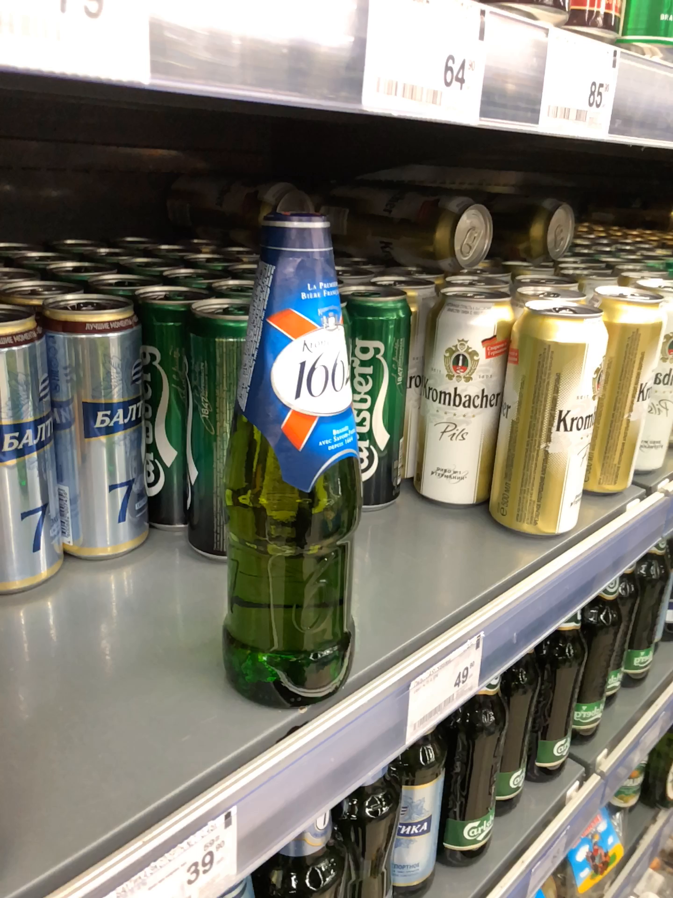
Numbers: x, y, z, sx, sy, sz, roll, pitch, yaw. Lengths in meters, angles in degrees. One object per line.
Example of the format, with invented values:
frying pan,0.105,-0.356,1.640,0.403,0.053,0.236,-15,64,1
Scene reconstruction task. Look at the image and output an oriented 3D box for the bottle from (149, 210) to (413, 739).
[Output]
bottle,-0.029,0.007,0.359,0.080,0.229,0.080,3,20,-1
